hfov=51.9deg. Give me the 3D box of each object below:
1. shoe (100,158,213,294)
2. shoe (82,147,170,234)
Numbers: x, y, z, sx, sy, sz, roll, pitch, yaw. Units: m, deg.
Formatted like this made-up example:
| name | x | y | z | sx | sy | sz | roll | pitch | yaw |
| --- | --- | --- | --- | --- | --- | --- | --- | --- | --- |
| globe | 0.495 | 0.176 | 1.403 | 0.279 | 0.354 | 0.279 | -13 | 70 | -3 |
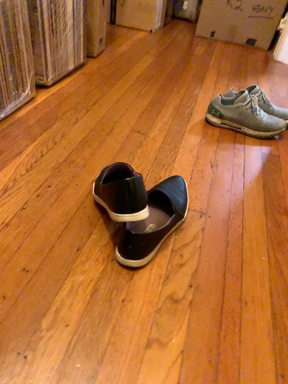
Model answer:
| name | x | y | z | sx | sy | sz | roll | pitch | yaw |
| --- | --- | --- | --- | --- | --- | --- | --- | --- | --- |
| shoe | 0.033 | 0.046 | 0.559 | 0.100 | 0.080 | 0.261 | 24 | 42 | 16 |
| shoe | -0.049 | -0.020 | 0.561 | 0.100 | 0.080 | 0.251 | -5 | 21 | -18 |
